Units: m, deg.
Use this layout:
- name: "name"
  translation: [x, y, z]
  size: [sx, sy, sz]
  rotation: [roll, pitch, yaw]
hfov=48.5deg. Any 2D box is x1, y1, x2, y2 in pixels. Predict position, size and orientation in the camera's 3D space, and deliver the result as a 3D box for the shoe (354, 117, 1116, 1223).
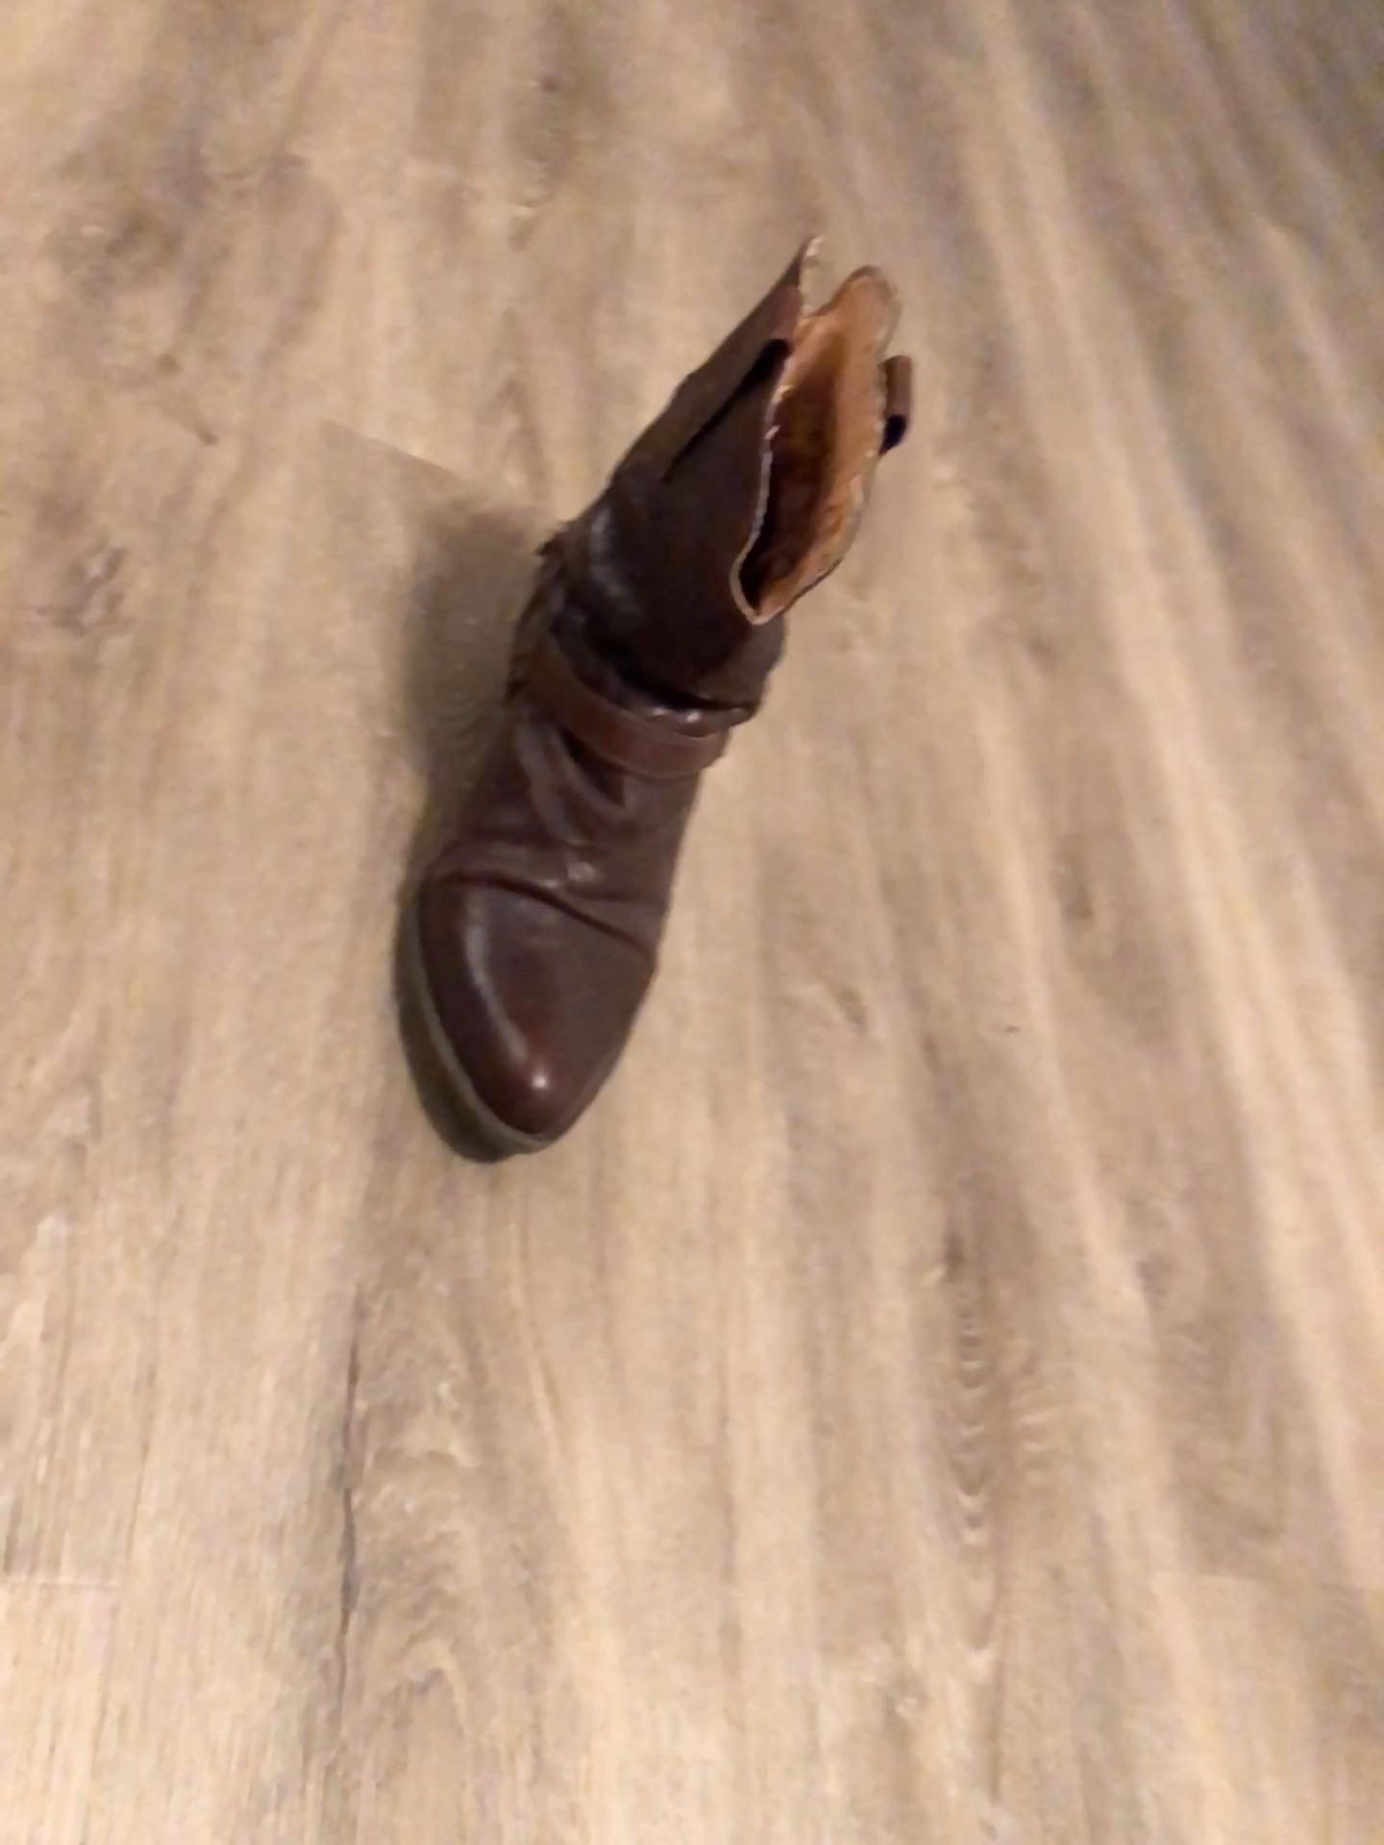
- name: "shoe"
  translation: [-0.001, -0.070, 0.468]
  size: [0.100, 0.209, 0.241]
  rotation: [20, 49, -24]
